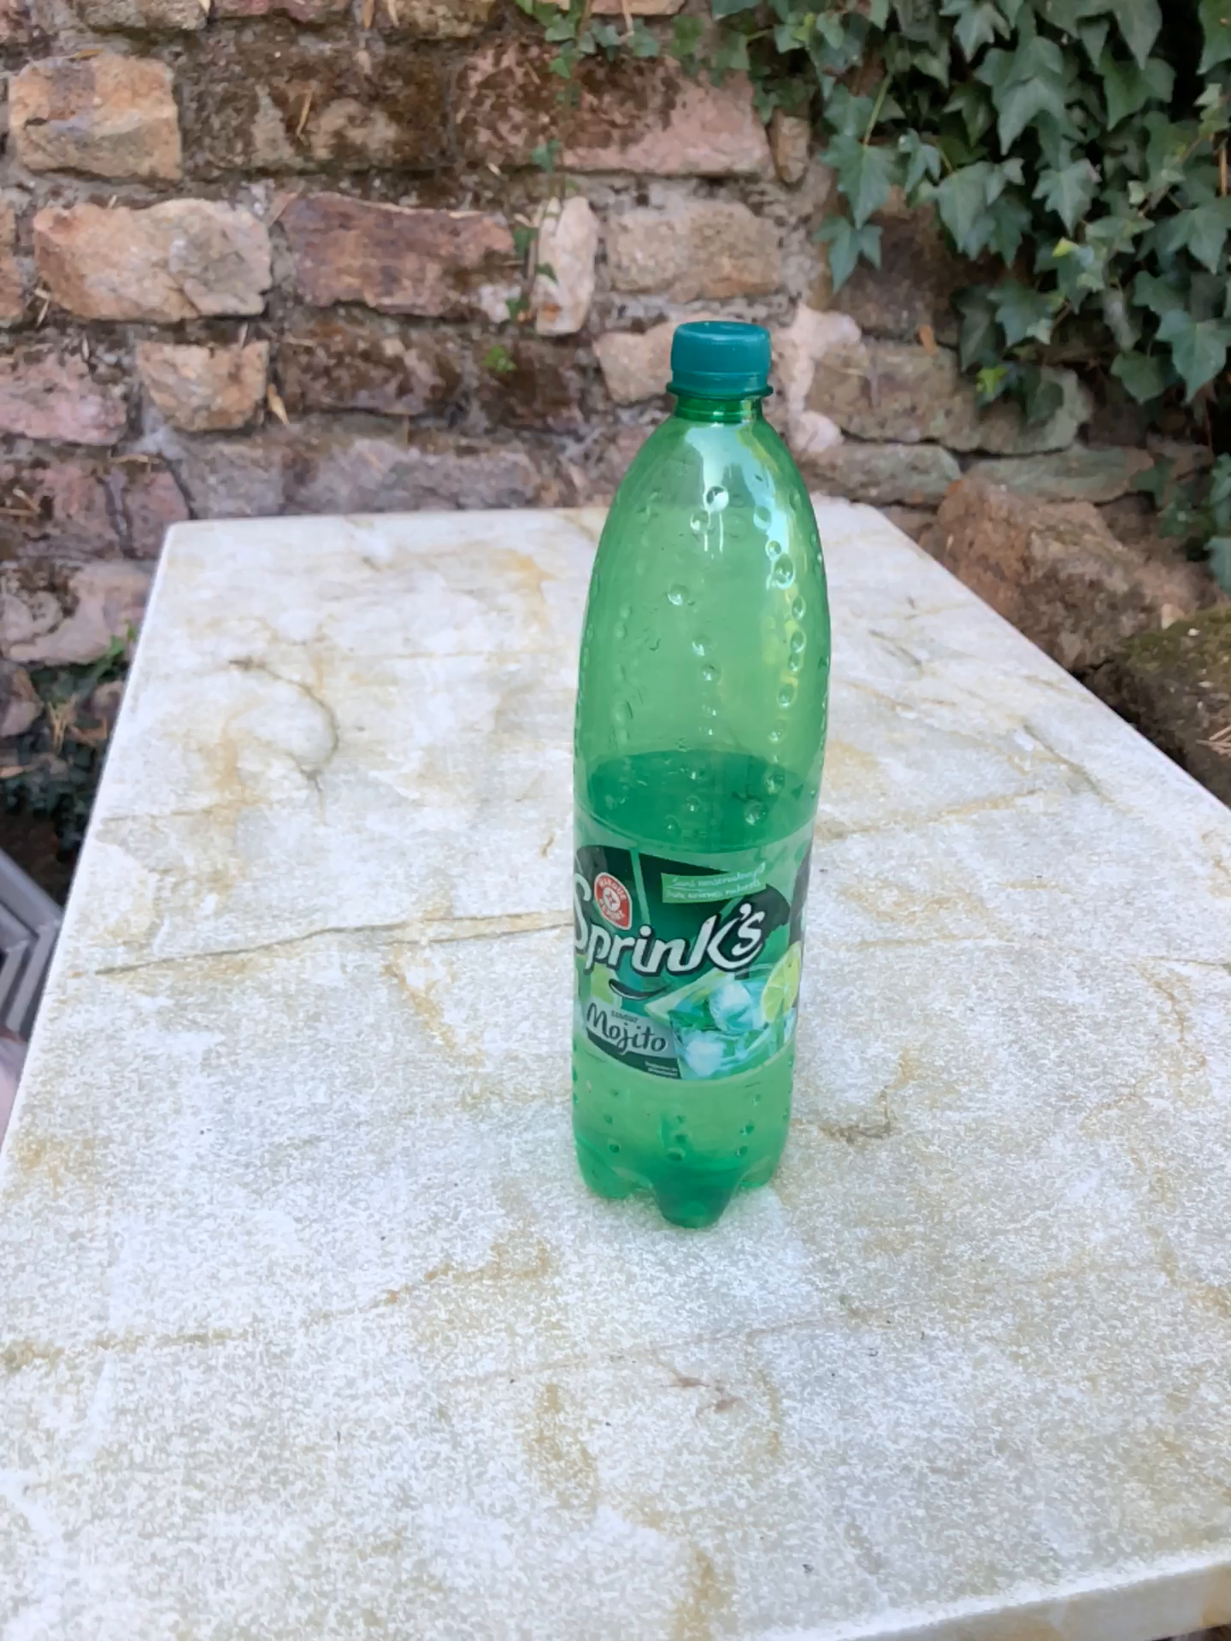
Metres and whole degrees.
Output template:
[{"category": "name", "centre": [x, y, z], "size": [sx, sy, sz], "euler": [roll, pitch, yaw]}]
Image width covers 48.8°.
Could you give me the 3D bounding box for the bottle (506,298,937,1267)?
[{"category": "bottle", "centre": [0.028, -0.005, 0.465], "size": [0.090, 0.308, 0.091], "euler": [1, 30, -1]}]
